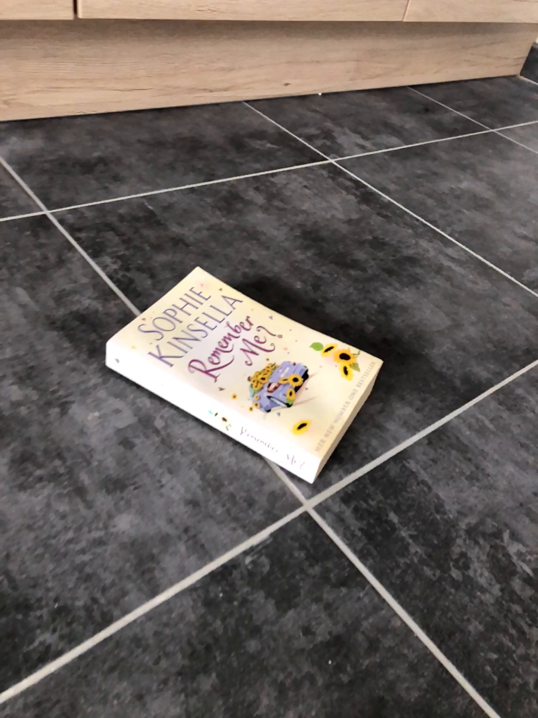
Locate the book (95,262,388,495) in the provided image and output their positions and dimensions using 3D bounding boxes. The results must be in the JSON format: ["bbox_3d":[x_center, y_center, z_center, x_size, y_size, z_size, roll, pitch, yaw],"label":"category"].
[{"bbox_3d":[-0.021,0.005,0.489,0.200,0.040,0.131,27,47,15],"label":"book"}]
